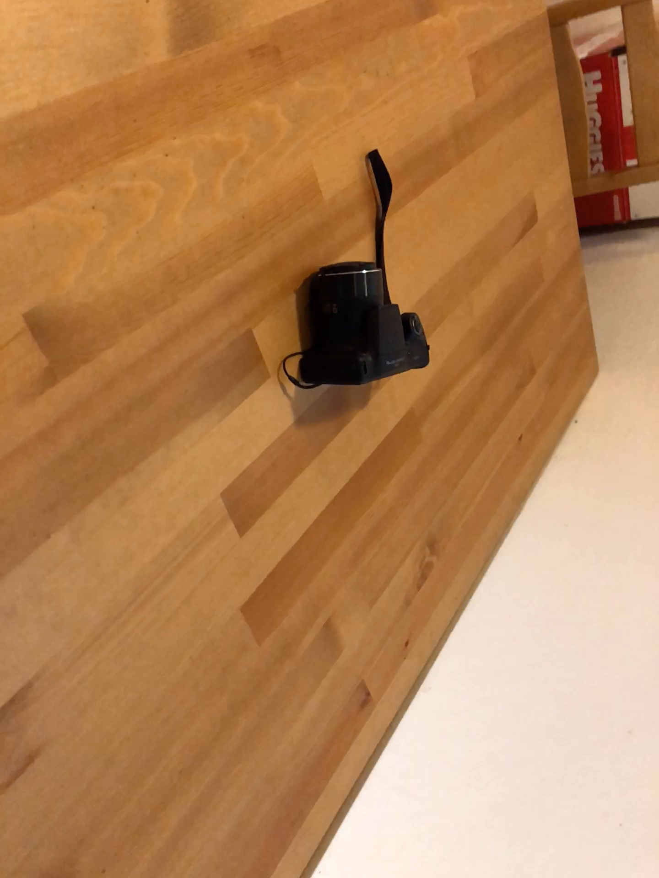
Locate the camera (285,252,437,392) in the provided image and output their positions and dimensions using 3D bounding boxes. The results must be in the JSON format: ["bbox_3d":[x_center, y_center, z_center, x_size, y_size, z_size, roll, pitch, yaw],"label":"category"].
[{"bbox_3d":[0.029,-0.097,0.592,0.110,0.062,0.096,-23,111,-49],"label":"camera"}]
